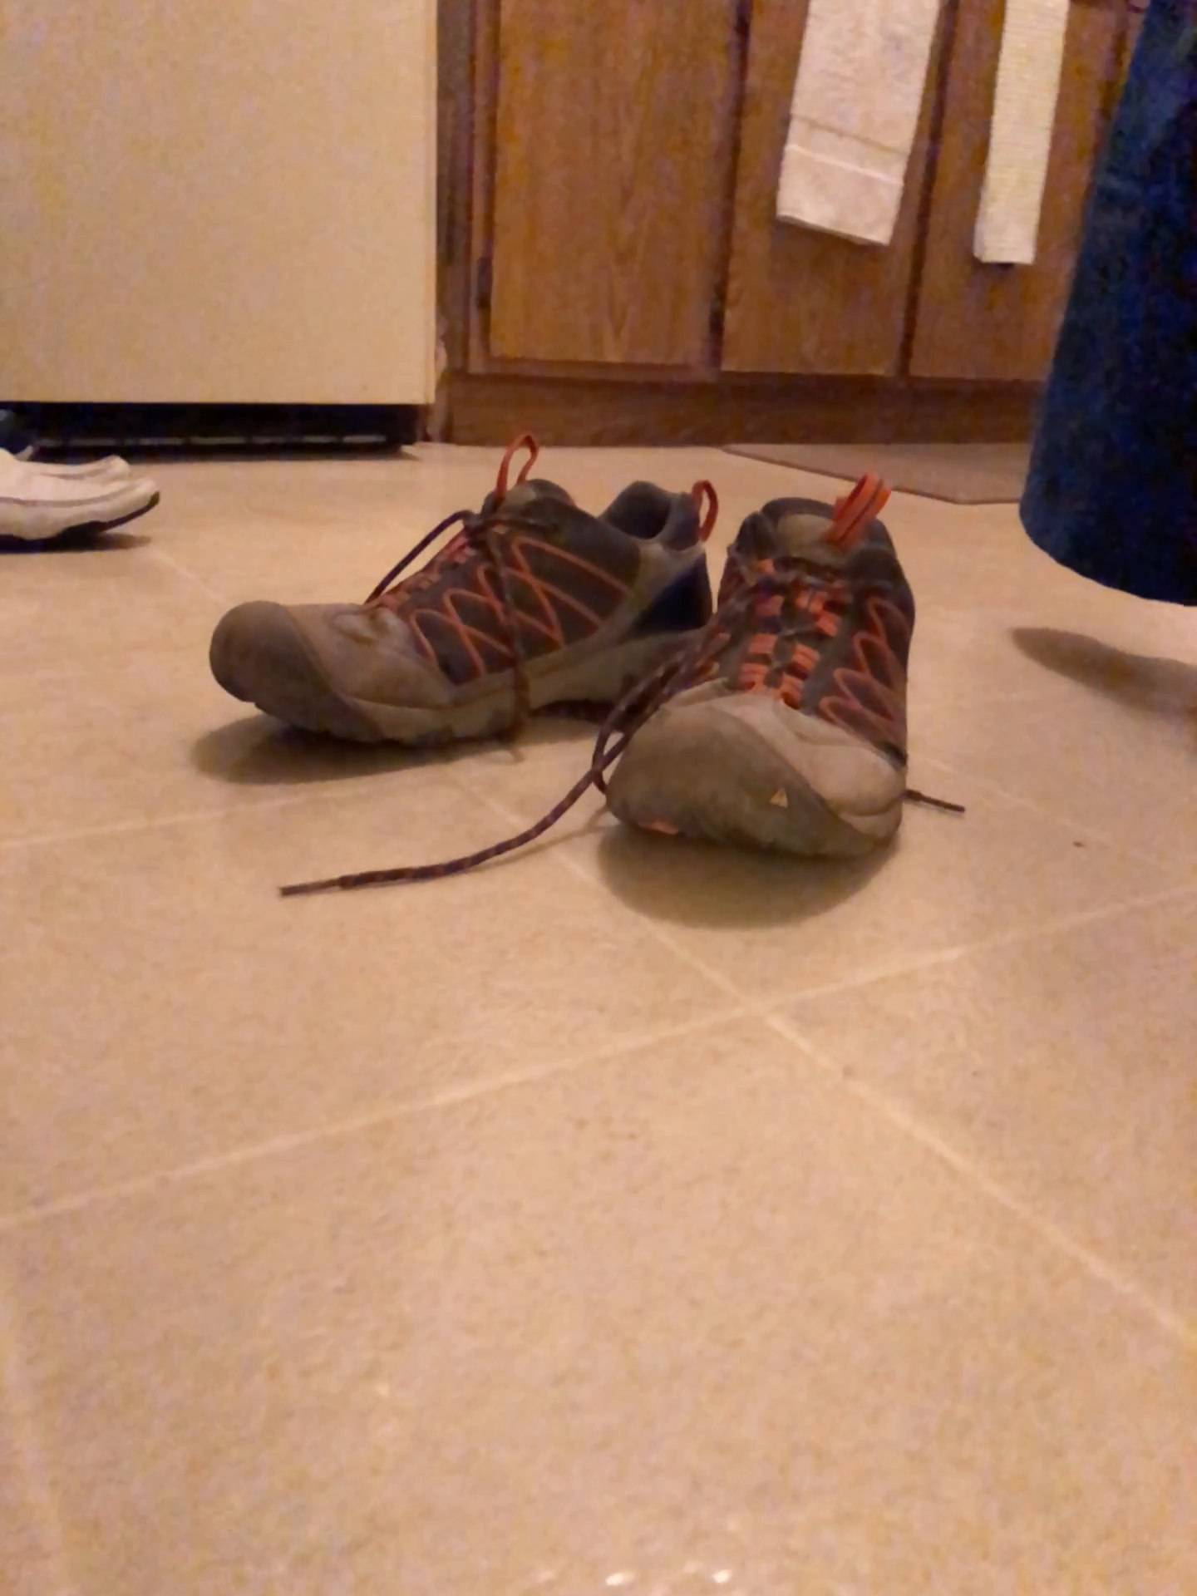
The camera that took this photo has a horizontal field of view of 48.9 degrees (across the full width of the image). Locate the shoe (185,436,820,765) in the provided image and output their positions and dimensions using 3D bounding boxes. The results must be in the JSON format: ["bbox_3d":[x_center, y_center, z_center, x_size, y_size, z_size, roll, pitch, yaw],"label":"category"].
[{"bbox_3d":[-0.044,-0.115,0.678,0.293,0.121,0.127,-11,25,-32],"label":"shoe"}]

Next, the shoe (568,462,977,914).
[{"bbox_3d":[0.093,-0.071,0.597,0.127,0.121,0.283,9,22,15],"label":"shoe"}]
